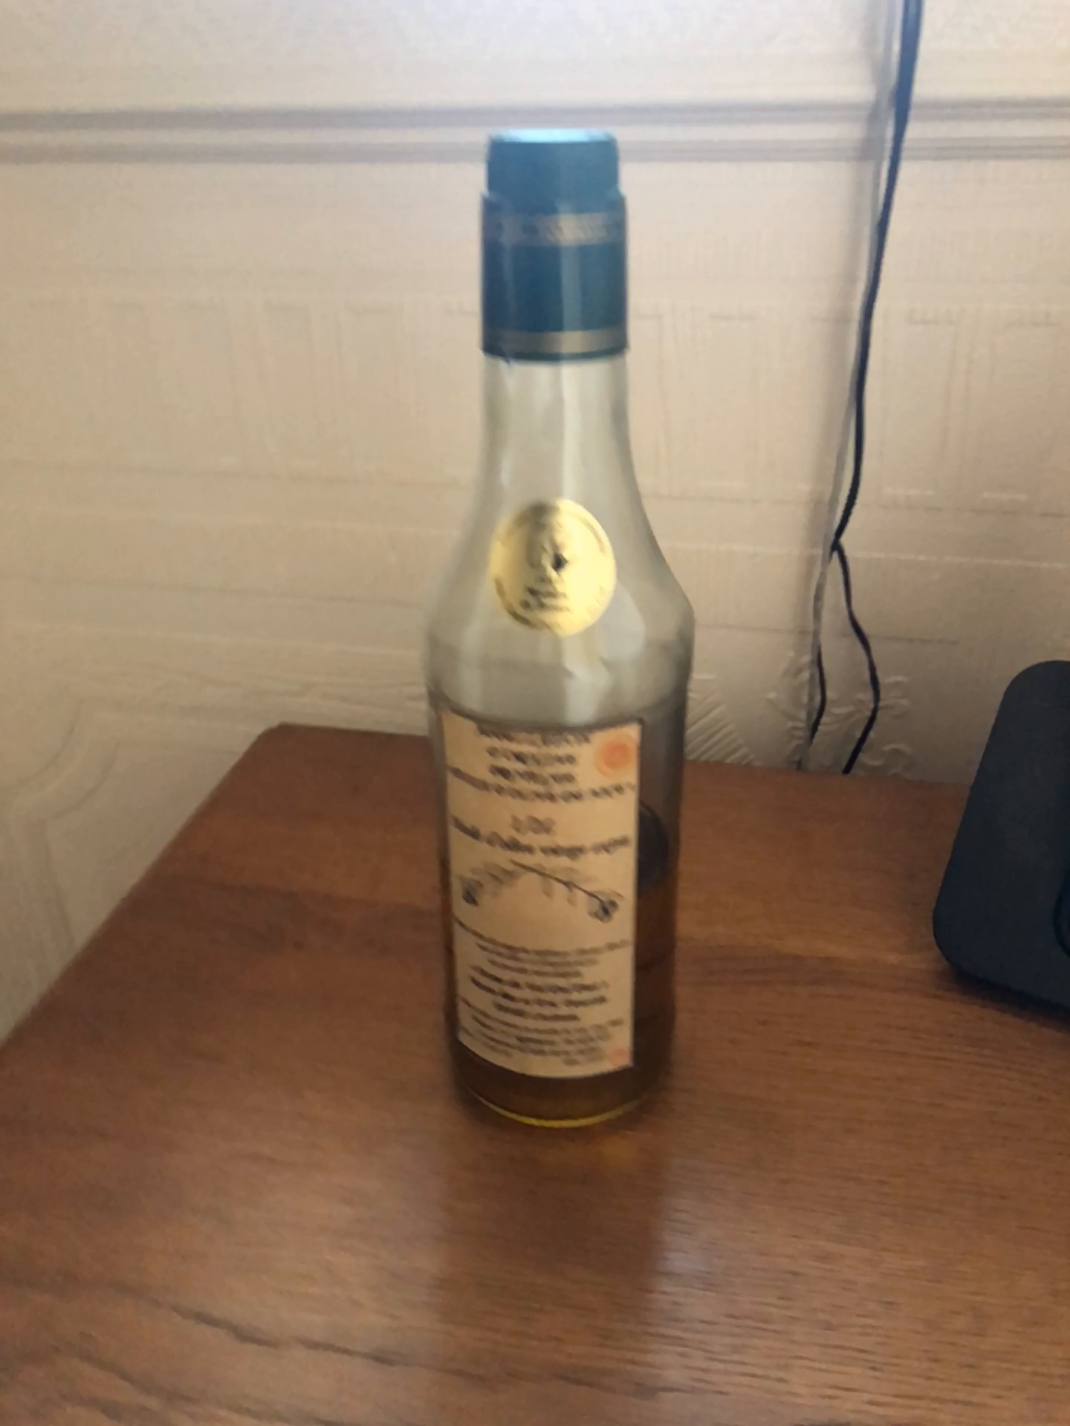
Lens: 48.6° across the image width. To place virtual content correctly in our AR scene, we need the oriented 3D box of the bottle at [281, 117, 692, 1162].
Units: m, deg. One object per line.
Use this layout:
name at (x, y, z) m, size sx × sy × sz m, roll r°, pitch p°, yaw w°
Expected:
bottle at (-0.002, -0.010, 0.312) m, size 0.070 × 0.259 × 0.081 m, roll 4°, pitch 28°, yaw 11°
